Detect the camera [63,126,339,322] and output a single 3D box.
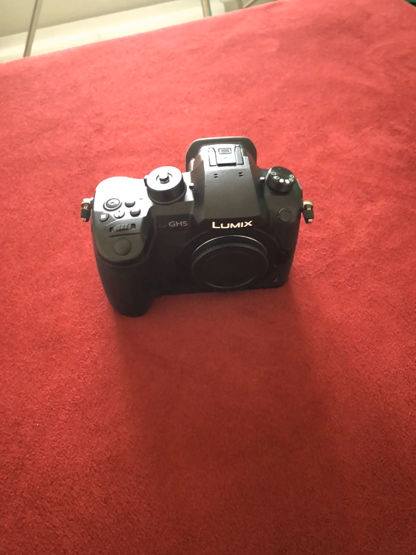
[{"bbox_3d":[-0.005,-0.034,0.308,0.148,0.087,0.086,-3,52,-2],"label":"camera"}]
